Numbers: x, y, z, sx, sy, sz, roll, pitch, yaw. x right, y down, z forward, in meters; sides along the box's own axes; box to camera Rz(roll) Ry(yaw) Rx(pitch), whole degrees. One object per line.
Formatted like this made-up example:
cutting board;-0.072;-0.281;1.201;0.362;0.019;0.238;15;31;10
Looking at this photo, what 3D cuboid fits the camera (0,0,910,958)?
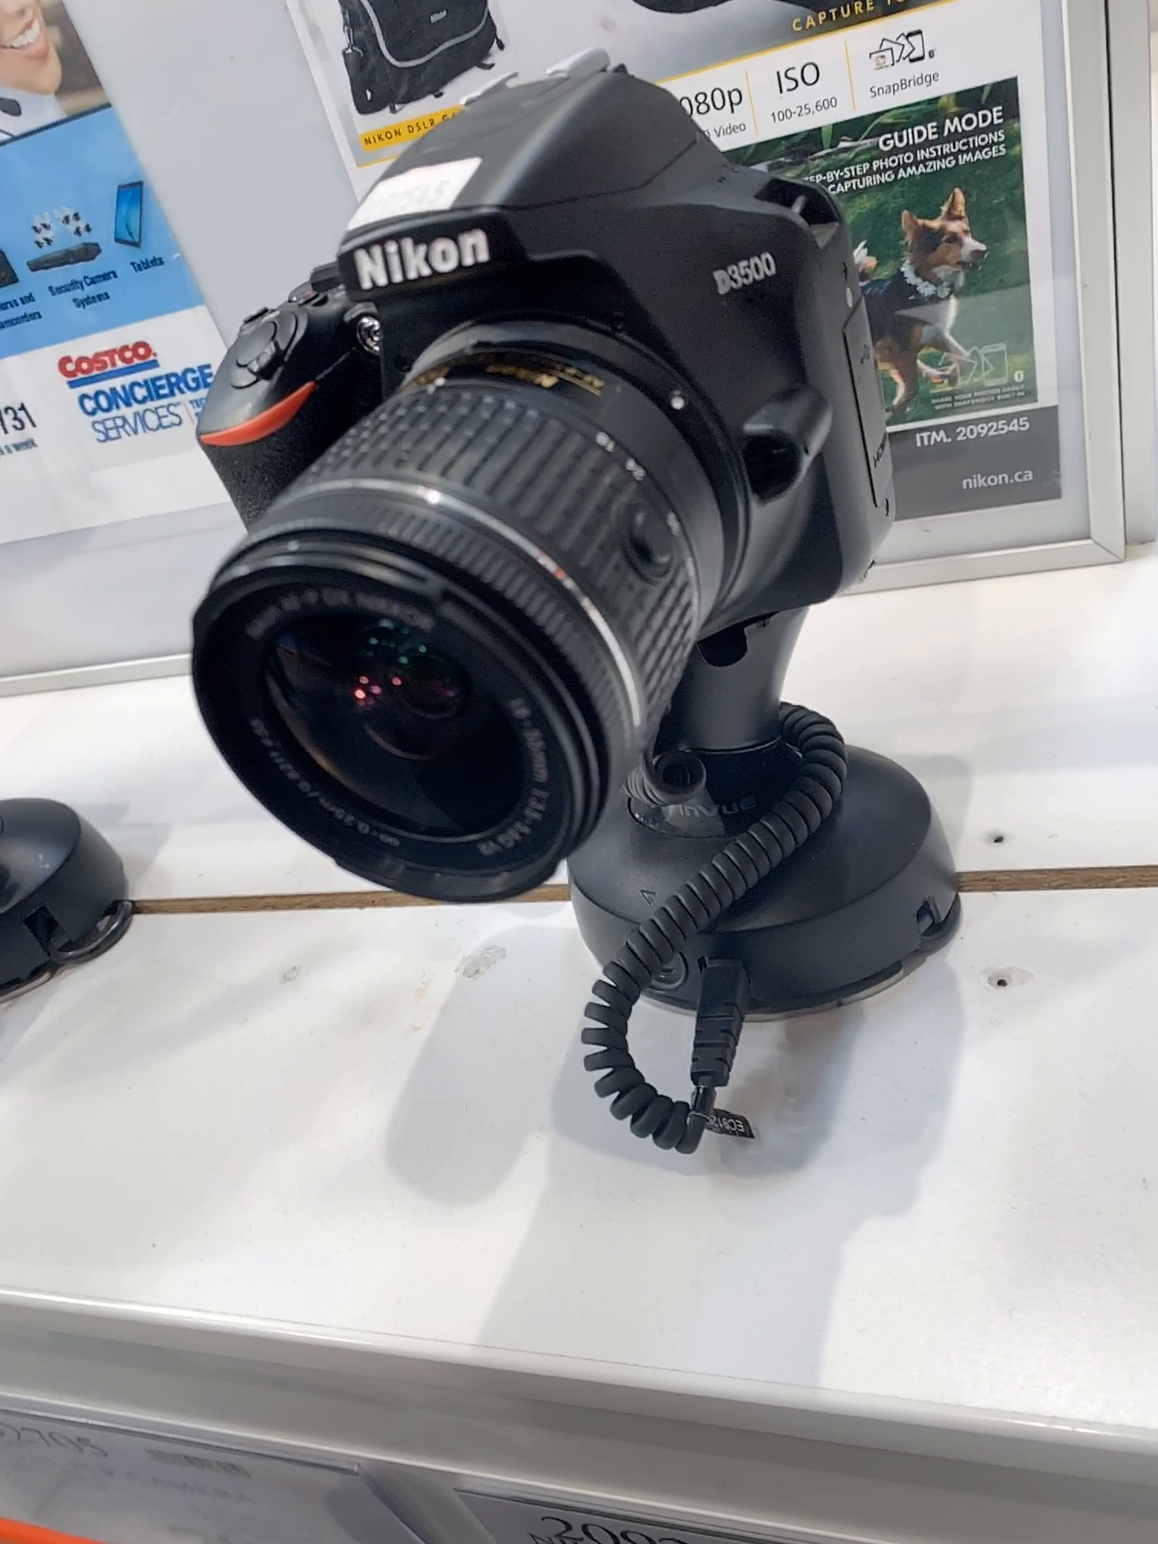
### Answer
camera;-0.018;-0.050;0.200;0.116;0.099;0.121;-2;38;25
